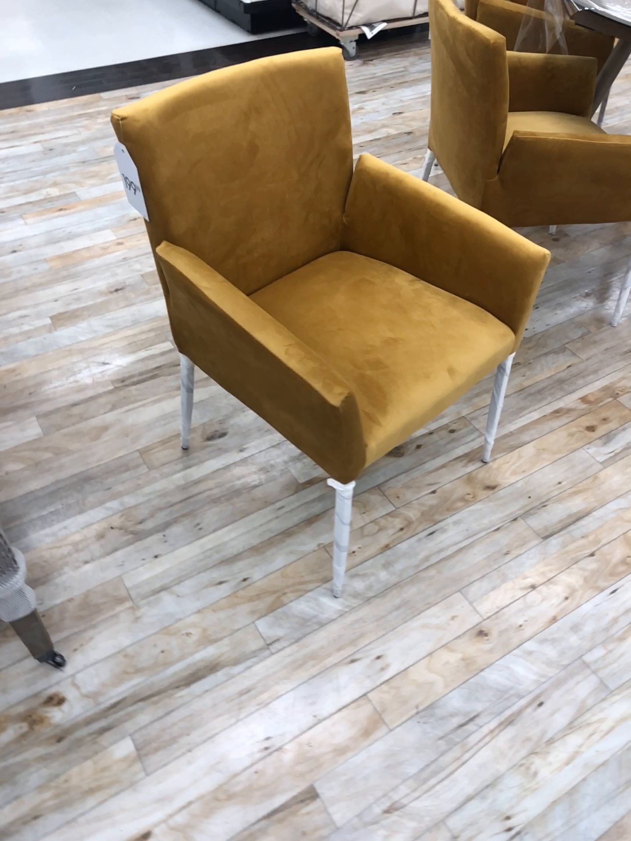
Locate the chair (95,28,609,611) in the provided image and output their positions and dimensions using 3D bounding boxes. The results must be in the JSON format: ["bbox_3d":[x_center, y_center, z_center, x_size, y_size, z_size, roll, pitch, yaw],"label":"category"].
[{"bbox_3d":[0.050,-0.190,1.328,0.541,0.797,0.561,36,54,28],"label":"chair"}]
